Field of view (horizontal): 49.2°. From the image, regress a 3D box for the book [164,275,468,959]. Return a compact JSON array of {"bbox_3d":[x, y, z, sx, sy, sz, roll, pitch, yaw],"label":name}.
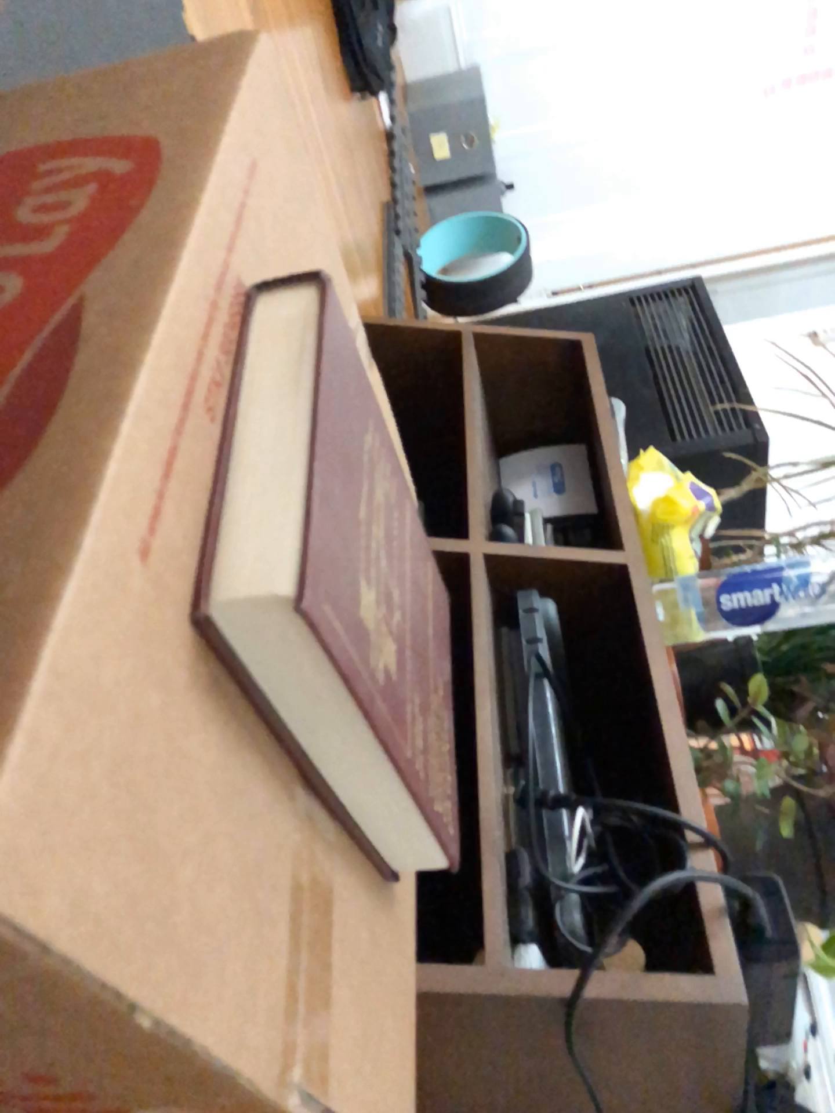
[{"bbox_3d":[-0.024,0.039,0.395,0.240,0.040,0.190,70,14,-49],"label":"book"}]
